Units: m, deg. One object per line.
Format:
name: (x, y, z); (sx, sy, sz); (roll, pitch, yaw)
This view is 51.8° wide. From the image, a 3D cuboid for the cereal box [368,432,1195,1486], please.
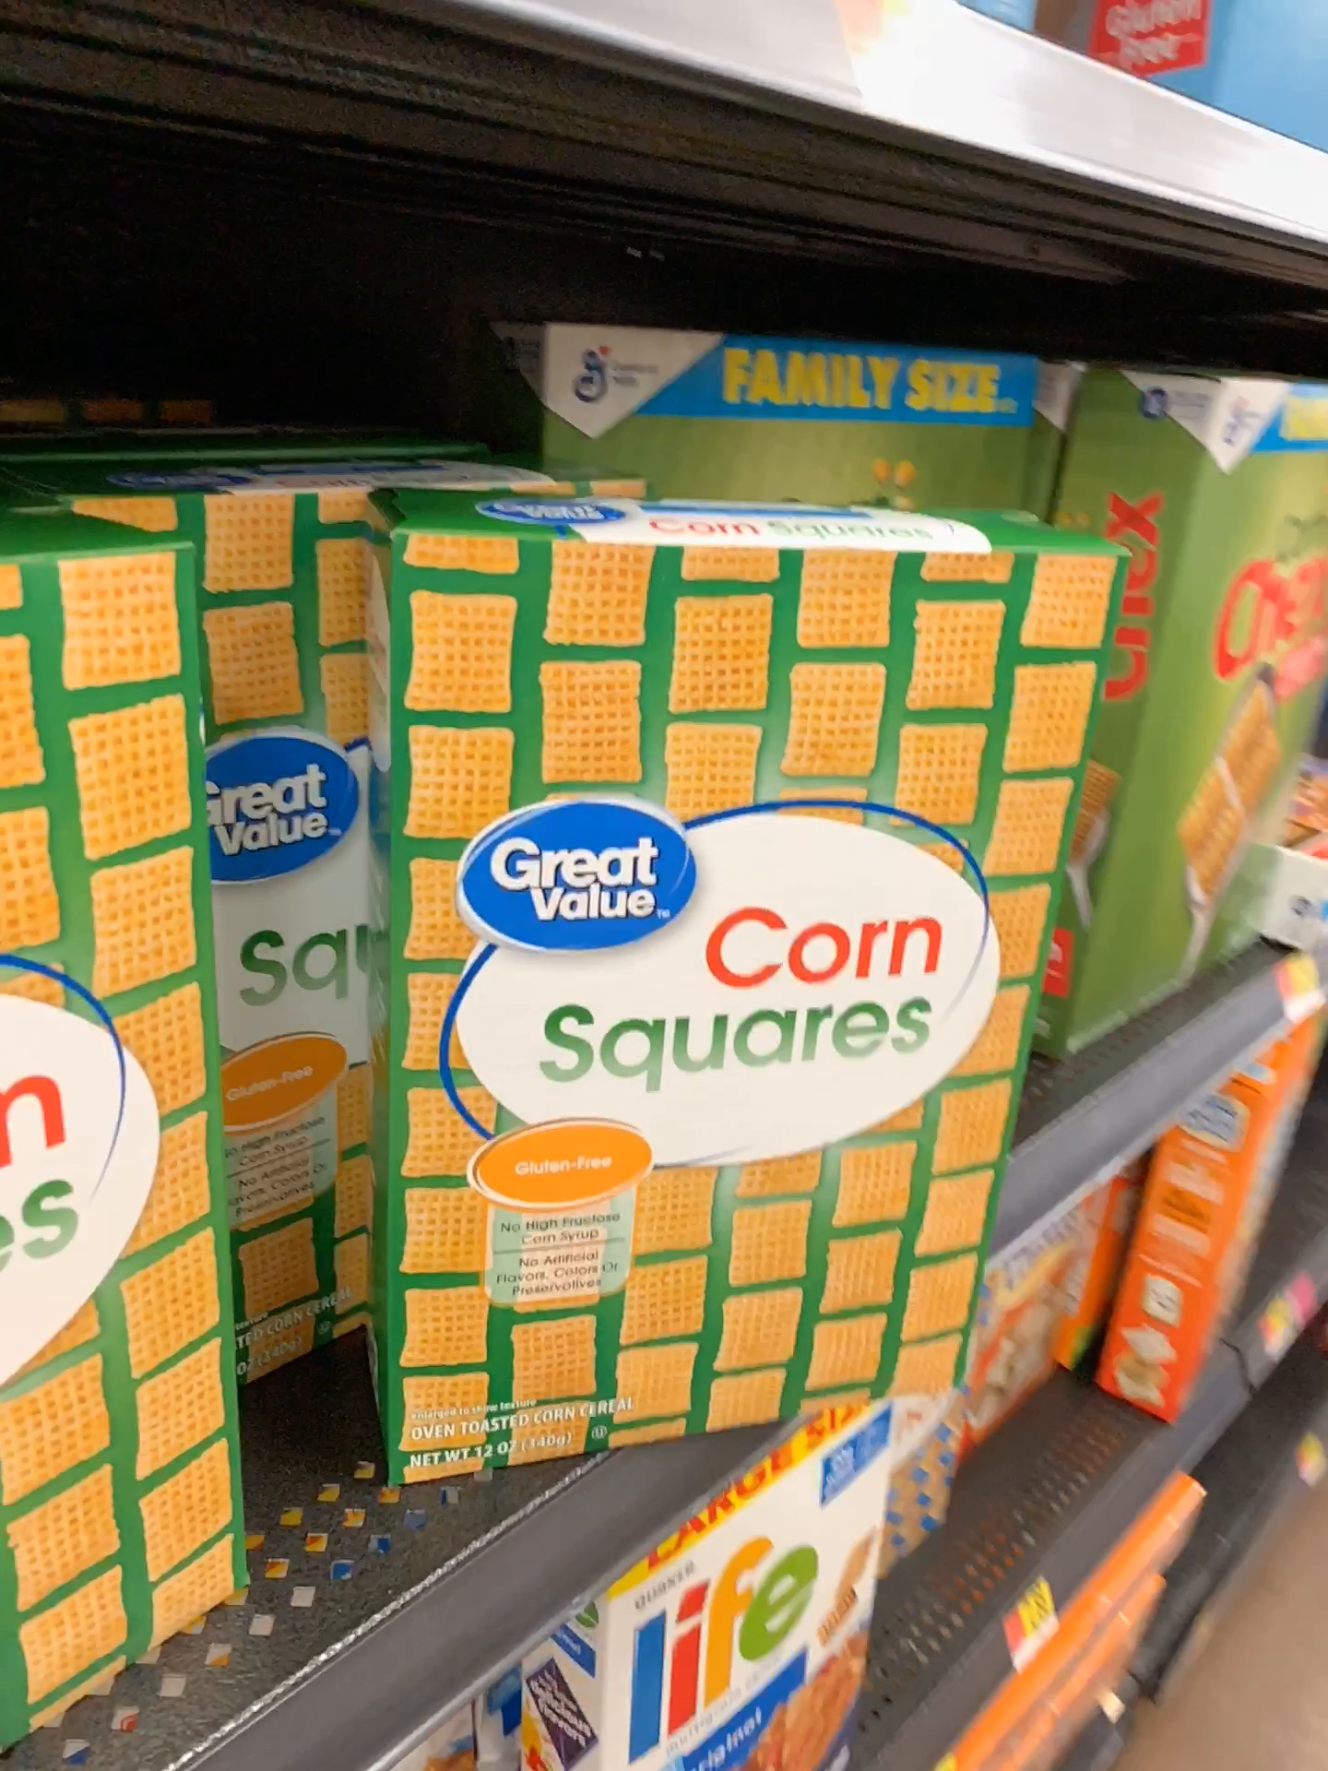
cereal box: (0.019, 0.026, 0.409); (0.200, 0.289, 0.070); (-2, 23, -18)
